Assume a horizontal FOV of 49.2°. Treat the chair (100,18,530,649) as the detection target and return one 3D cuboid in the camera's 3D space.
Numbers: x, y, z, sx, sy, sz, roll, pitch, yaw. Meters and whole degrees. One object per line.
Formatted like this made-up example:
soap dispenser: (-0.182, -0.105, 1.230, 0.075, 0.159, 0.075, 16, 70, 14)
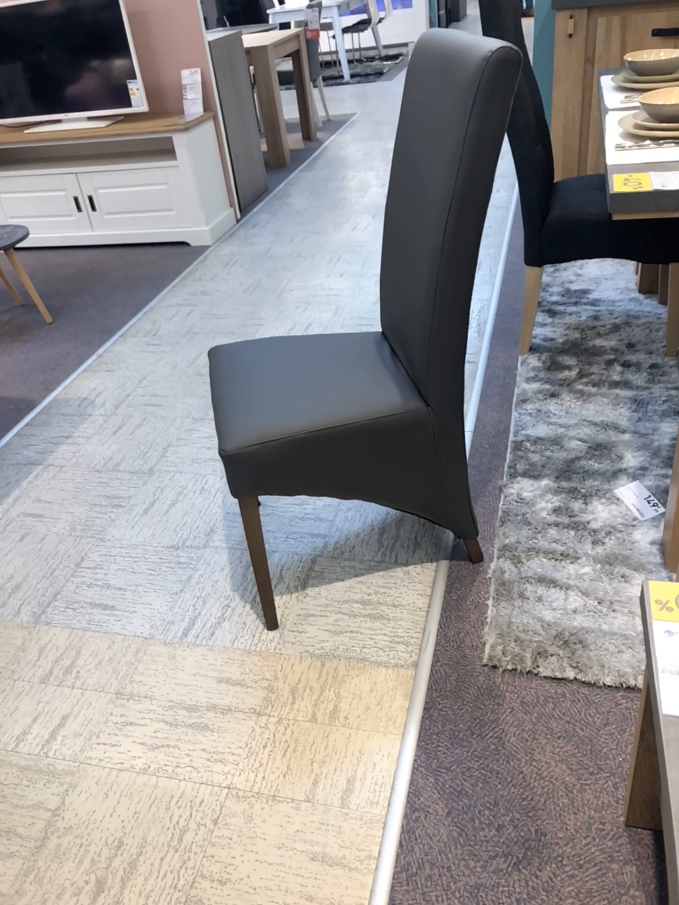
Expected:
chair: (-0.021, -0.225, 1.452, 0.570, 1.014, 0.523, -11, 32, -7)
